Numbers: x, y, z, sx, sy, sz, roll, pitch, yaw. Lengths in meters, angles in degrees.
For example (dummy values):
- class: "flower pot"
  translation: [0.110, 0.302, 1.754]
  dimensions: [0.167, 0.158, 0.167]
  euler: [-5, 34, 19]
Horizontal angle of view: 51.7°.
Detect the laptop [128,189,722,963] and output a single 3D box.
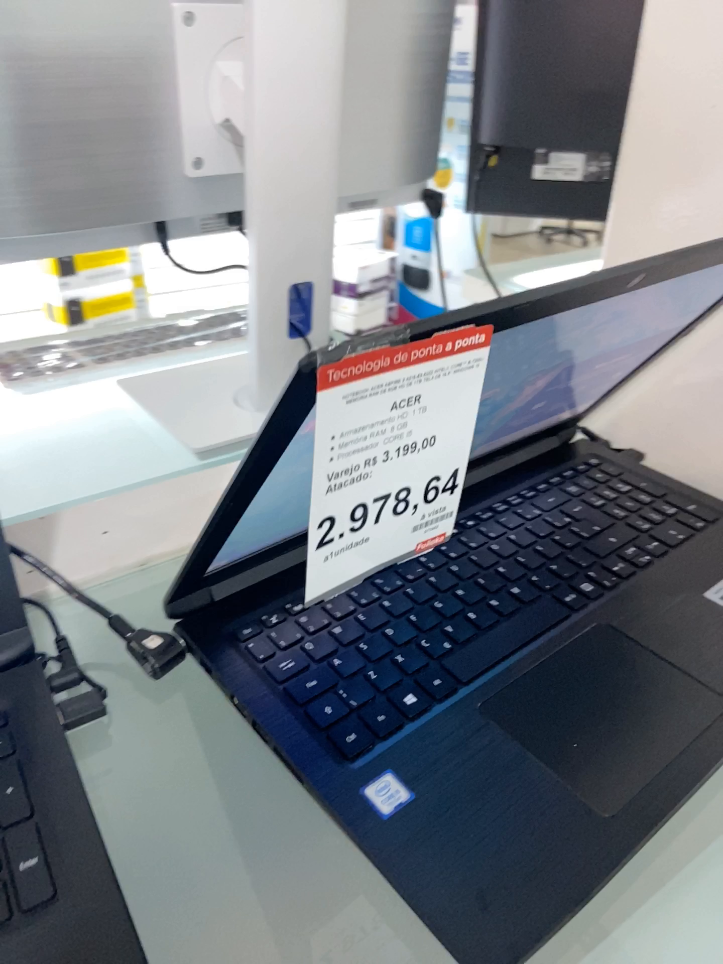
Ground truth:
- class: "laptop"
  translation: [0.115, -0.015, 0.392]
  dimensions: [0.368, 0.193, 0.234]
  euler: [-22, 37, -33]
